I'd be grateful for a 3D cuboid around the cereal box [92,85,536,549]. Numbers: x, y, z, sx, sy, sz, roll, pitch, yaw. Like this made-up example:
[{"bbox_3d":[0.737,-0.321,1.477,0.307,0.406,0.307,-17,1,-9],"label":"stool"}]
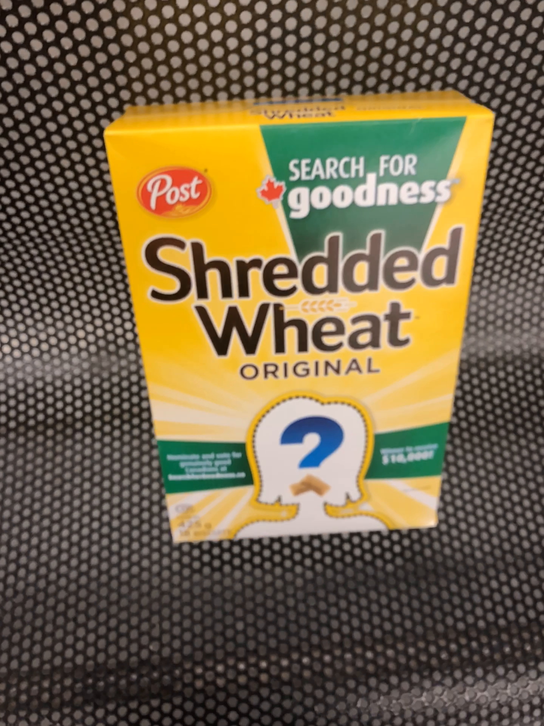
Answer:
[{"bbox_3d":[0.024,-0.018,0.398,0.210,0.279,0.090,-4,32,-2],"label":"cereal box"}]
